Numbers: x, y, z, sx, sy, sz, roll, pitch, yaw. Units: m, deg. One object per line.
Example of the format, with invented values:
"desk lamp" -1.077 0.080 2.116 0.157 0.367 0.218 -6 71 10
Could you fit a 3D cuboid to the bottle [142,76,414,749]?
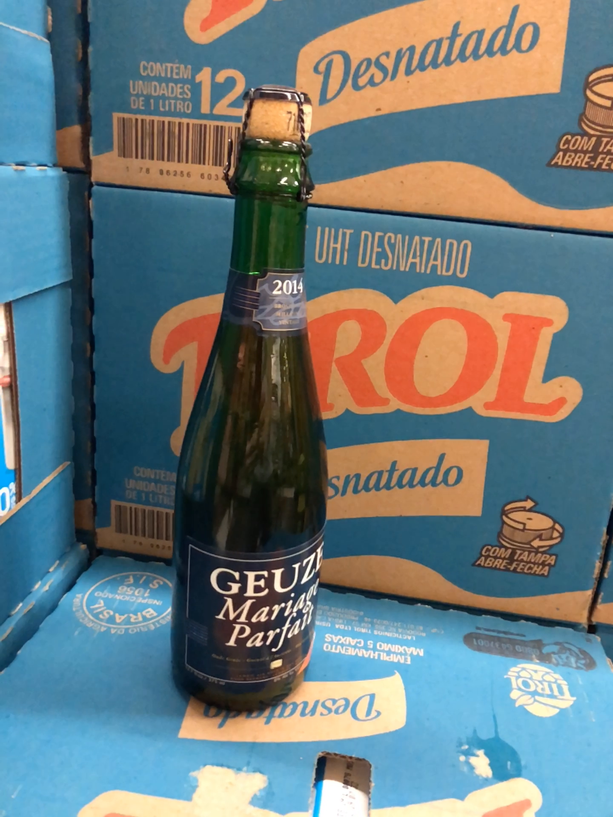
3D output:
"bottle" -0.021 0.008 0.288 0.070 0.258 0.060 -6 22 -34
